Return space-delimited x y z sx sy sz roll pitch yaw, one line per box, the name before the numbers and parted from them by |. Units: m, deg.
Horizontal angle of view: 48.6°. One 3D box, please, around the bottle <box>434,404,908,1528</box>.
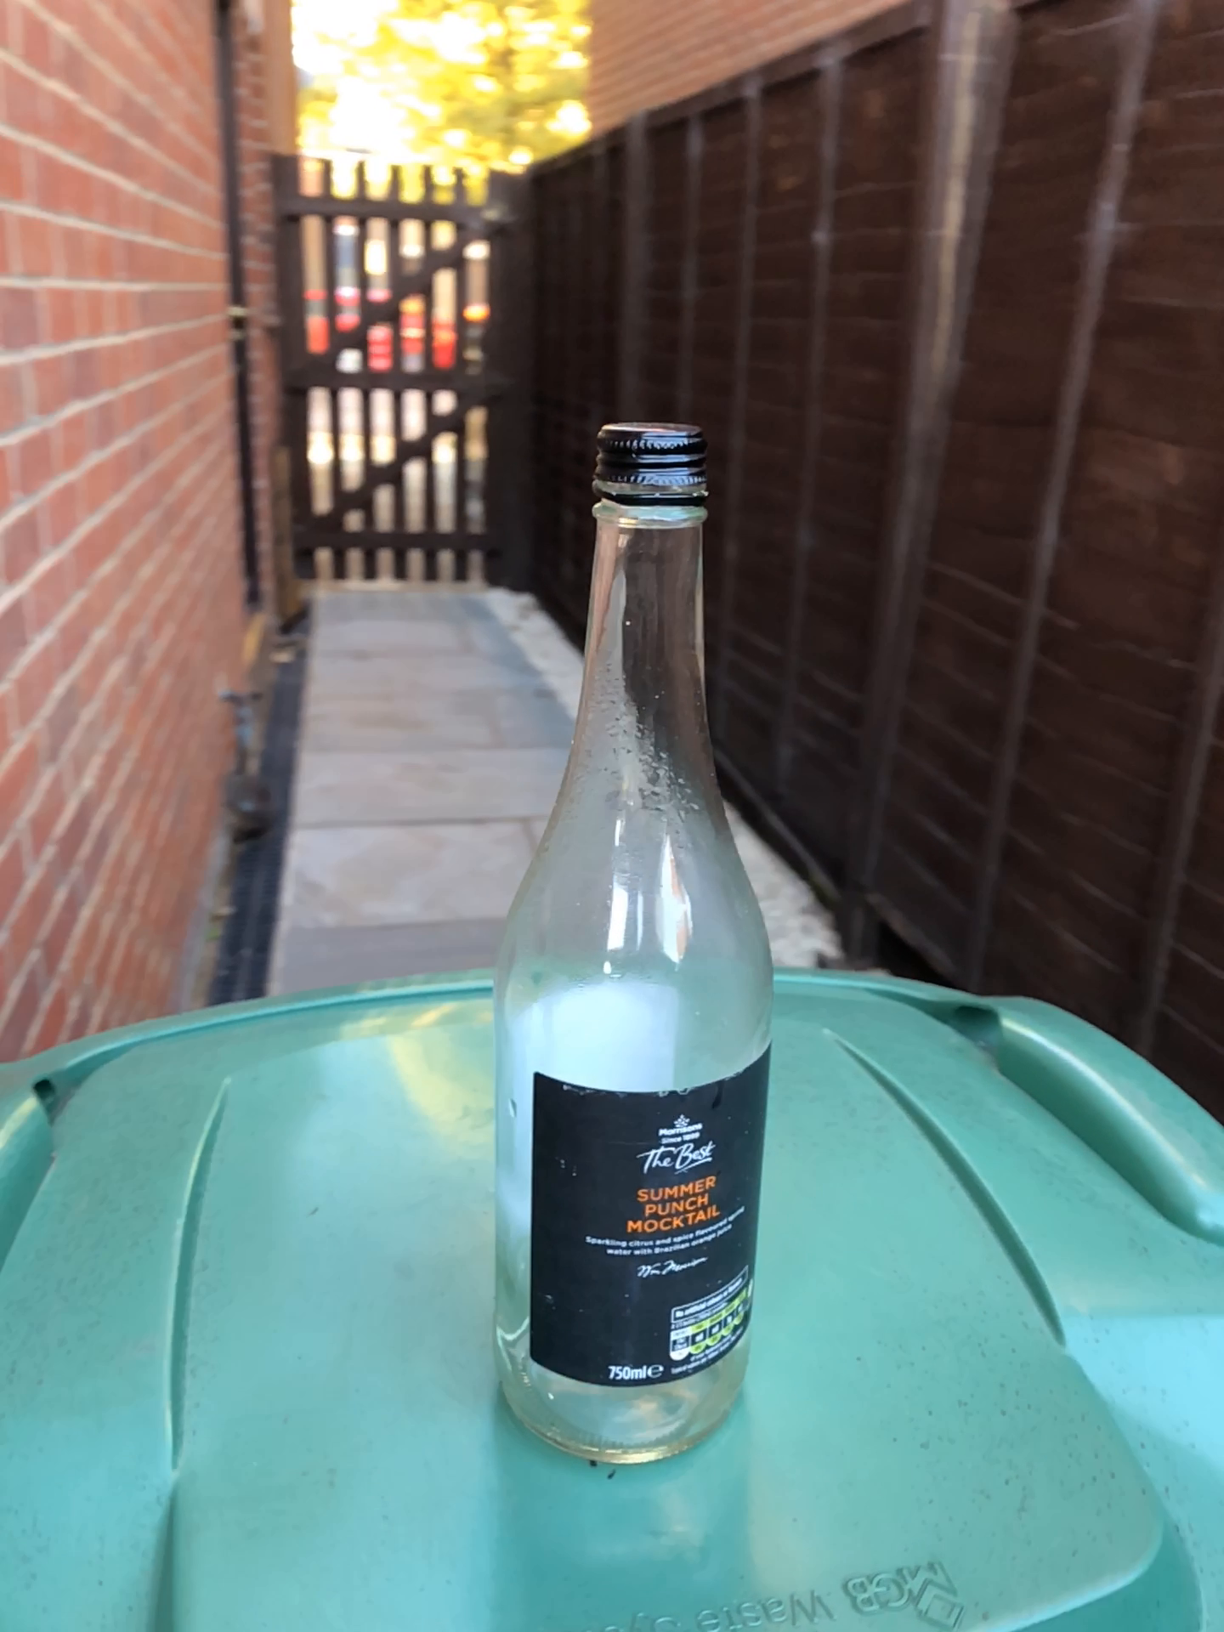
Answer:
bottle | 0.005 0.041 0.372 0.090 0.288 0.080 -5 21 -19
